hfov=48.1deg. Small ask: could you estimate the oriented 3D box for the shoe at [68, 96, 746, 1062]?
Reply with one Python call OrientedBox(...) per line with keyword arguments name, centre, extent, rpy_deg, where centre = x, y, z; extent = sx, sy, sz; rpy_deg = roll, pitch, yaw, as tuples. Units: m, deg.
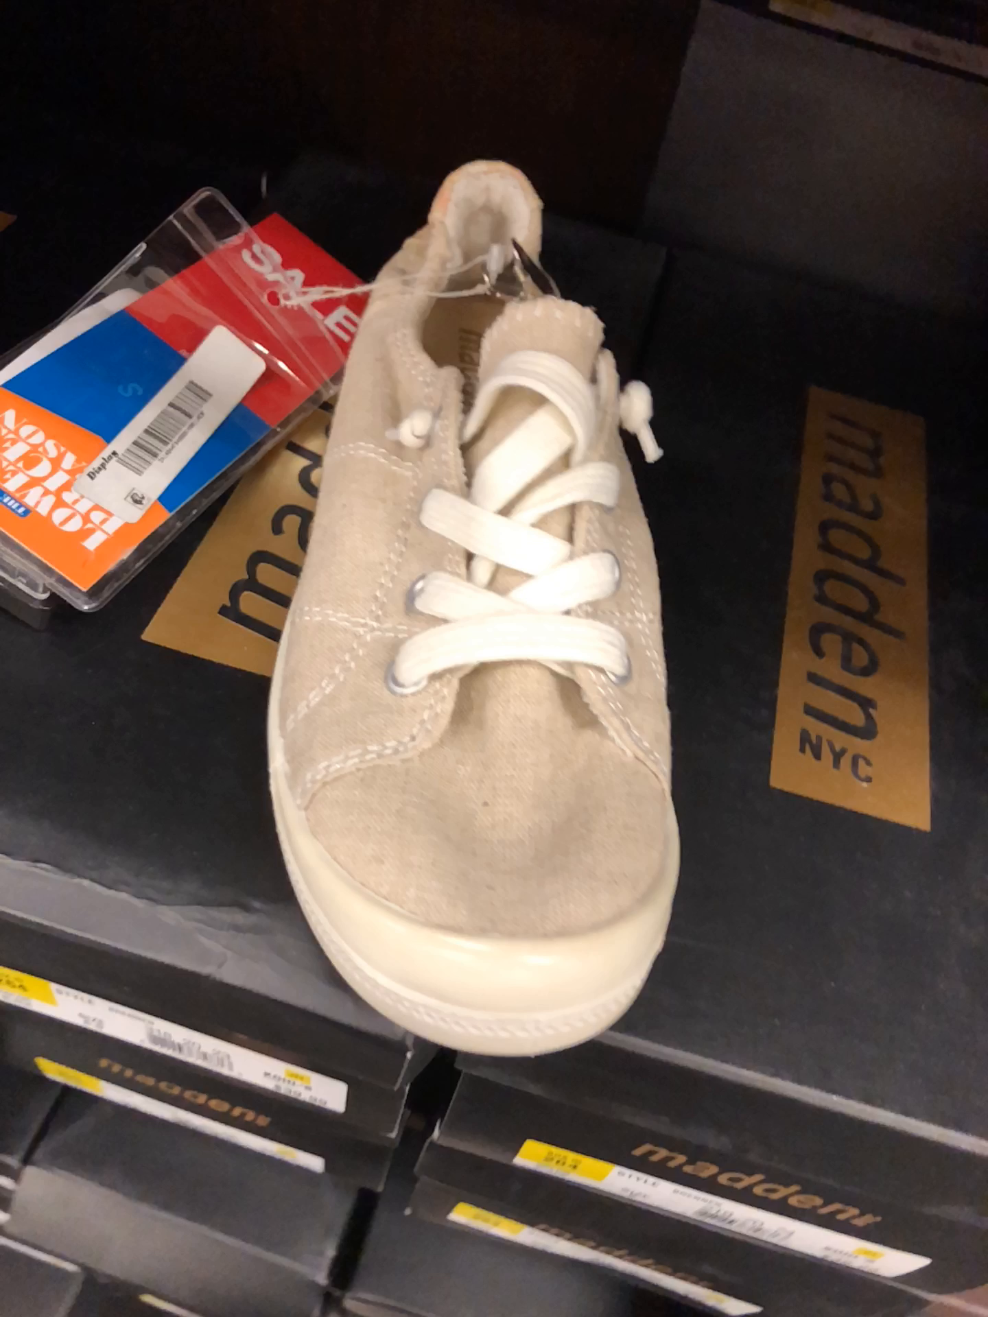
OrientedBox(name="shoe", centre=(-0.017, -0.032, 0.240), extent=(0.090, 0.070, 0.210), rpy_deg=(5, 50, -7))
